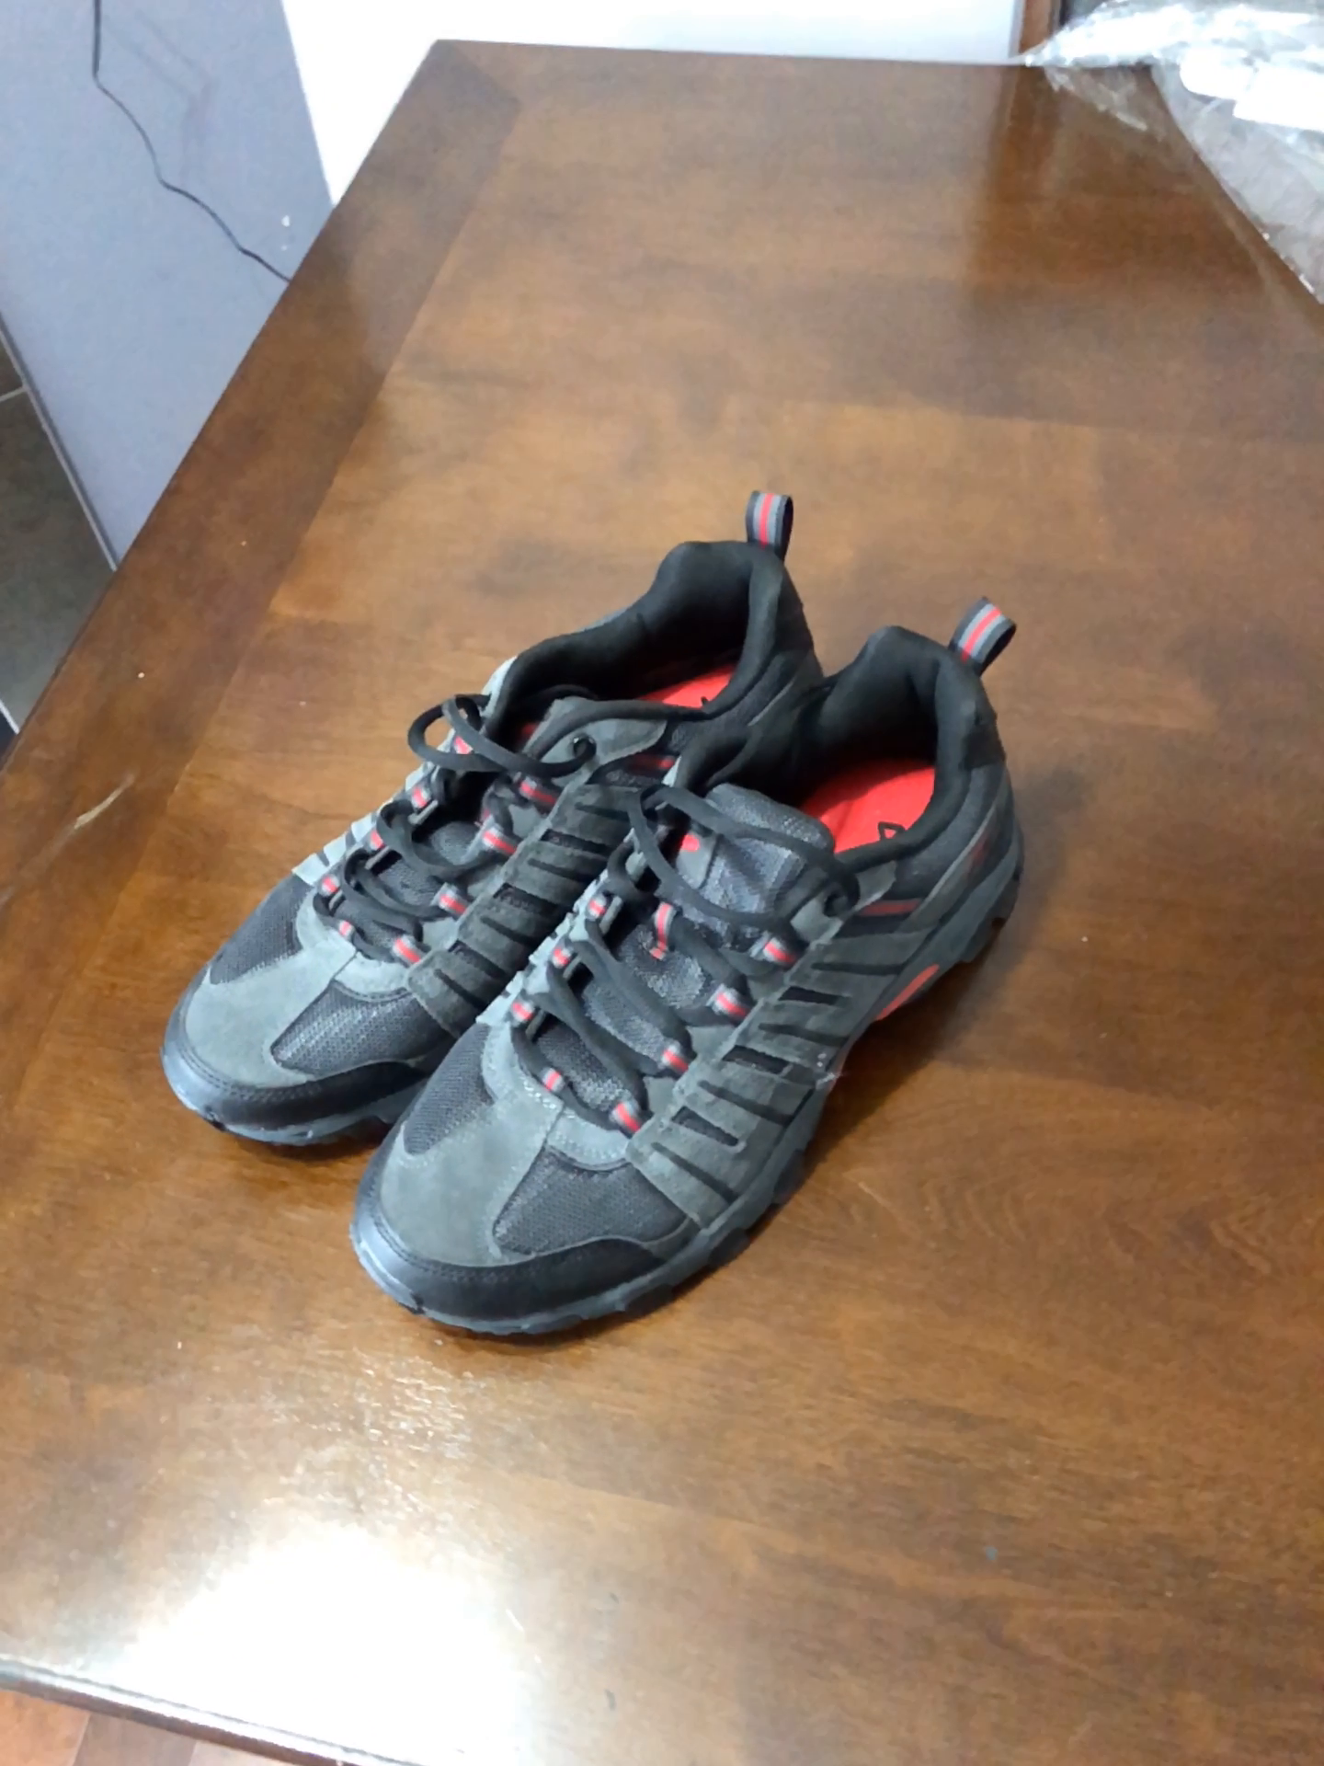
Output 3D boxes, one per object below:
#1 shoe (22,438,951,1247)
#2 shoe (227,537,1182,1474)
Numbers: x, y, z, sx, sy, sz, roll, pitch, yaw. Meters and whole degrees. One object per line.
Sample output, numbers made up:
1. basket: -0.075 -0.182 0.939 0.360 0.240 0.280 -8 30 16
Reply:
1. shoe: -0.049 -0.025 0.531 0.300 0.100 0.120 -36 60 -20
2. shoe: 0.026 0.027 0.489 0.120 0.100 0.300 37 65 26
